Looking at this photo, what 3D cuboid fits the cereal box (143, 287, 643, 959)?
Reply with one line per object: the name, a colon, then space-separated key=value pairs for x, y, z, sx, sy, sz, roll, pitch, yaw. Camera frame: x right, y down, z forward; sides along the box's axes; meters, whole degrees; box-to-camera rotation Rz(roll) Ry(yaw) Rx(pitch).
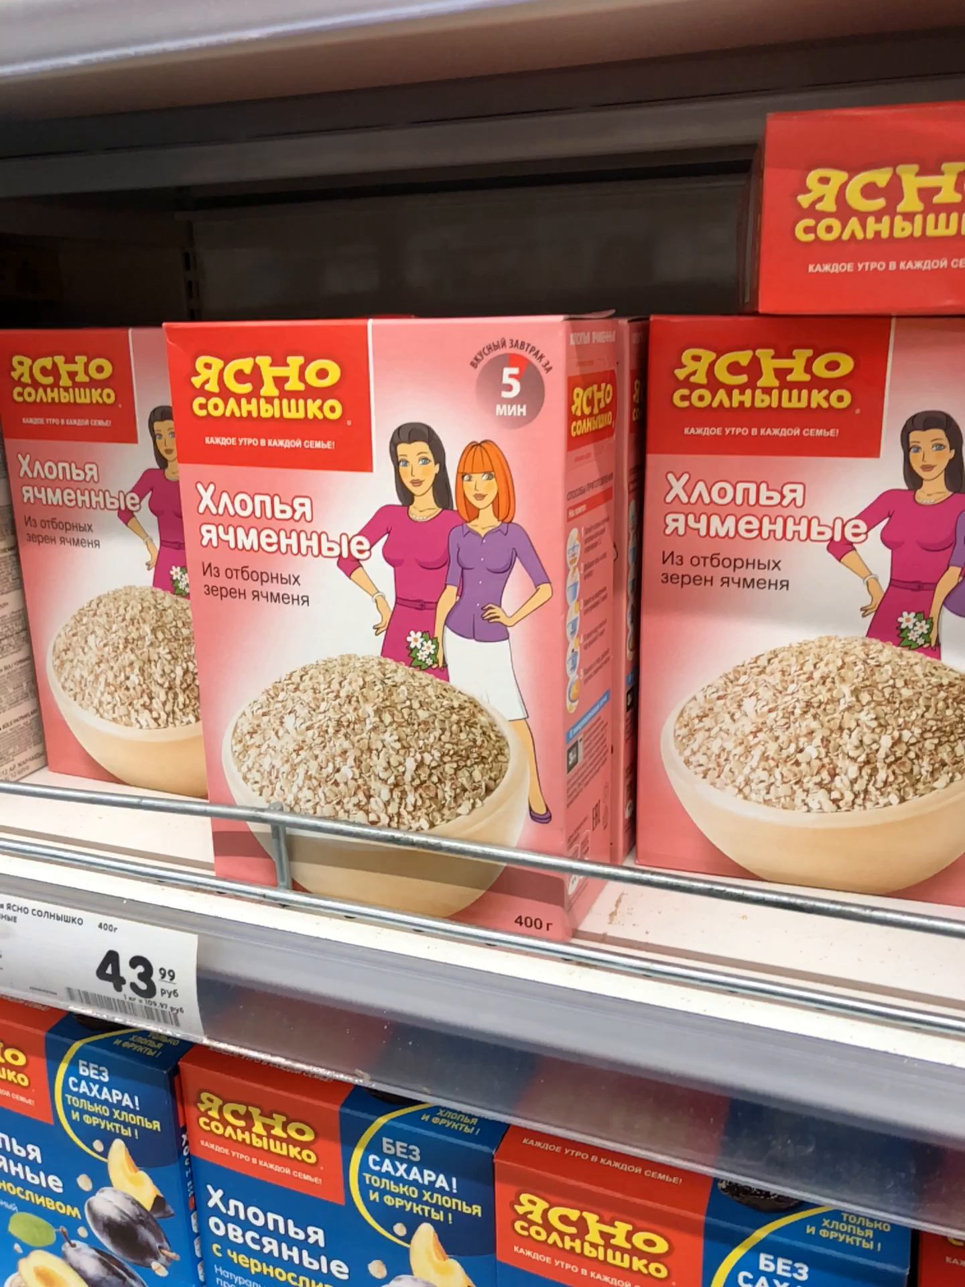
cereal box: x=-0.025 y=-0.011 z=0.341 sx=0.140 sy=0.189 sz=0.050 roll=6 pitch=17 yaw=23
